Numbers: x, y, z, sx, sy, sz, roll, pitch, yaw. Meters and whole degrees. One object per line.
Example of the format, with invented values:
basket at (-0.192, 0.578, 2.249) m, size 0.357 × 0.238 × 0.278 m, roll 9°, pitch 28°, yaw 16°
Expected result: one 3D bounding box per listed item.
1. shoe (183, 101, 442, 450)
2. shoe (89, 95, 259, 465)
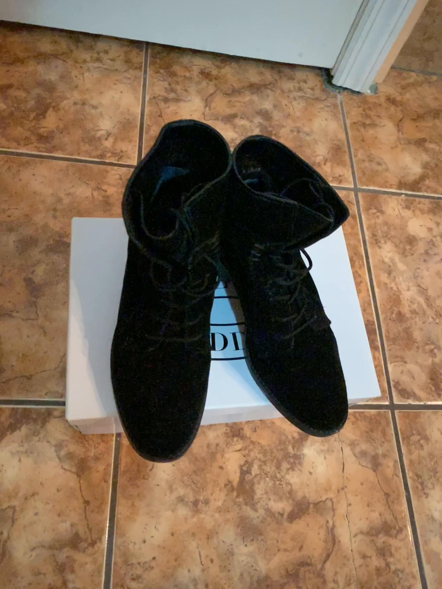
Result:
shoe at (0.063, -0.018, 0.410) m, size 0.107 × 0.142 × 0.267 m, roll -13°, pitch 68°, yaw -17°
shoe at (-0.043, -0.005, 0.371) m, size 0.094 × 0.152 × 0.258 m, roll 3°, pitch 64°, yaw -10°
